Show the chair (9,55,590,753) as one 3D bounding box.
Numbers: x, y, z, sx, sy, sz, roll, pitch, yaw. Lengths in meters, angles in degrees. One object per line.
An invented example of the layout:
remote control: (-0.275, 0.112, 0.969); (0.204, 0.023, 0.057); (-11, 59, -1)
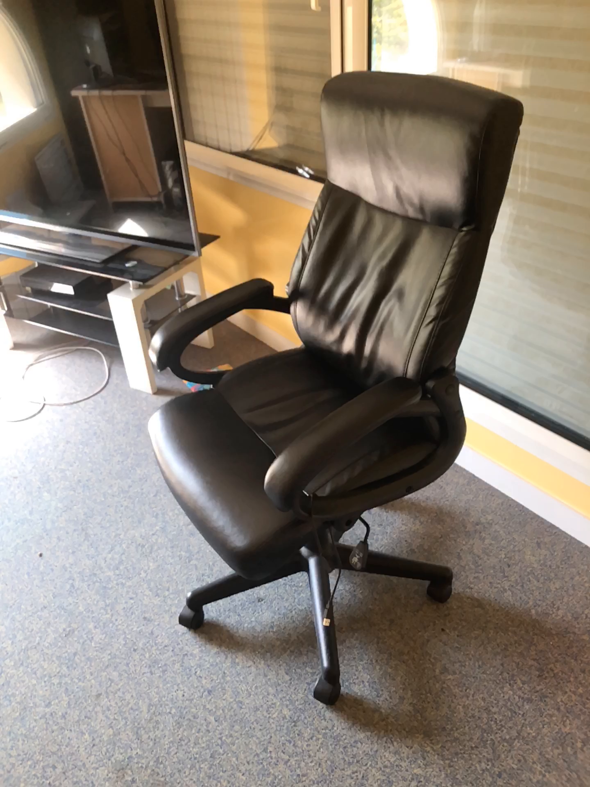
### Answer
chair: (0.027, -0.026, 1.372); (0.753, 1.114, 0.661); (-23, 39, -27)
